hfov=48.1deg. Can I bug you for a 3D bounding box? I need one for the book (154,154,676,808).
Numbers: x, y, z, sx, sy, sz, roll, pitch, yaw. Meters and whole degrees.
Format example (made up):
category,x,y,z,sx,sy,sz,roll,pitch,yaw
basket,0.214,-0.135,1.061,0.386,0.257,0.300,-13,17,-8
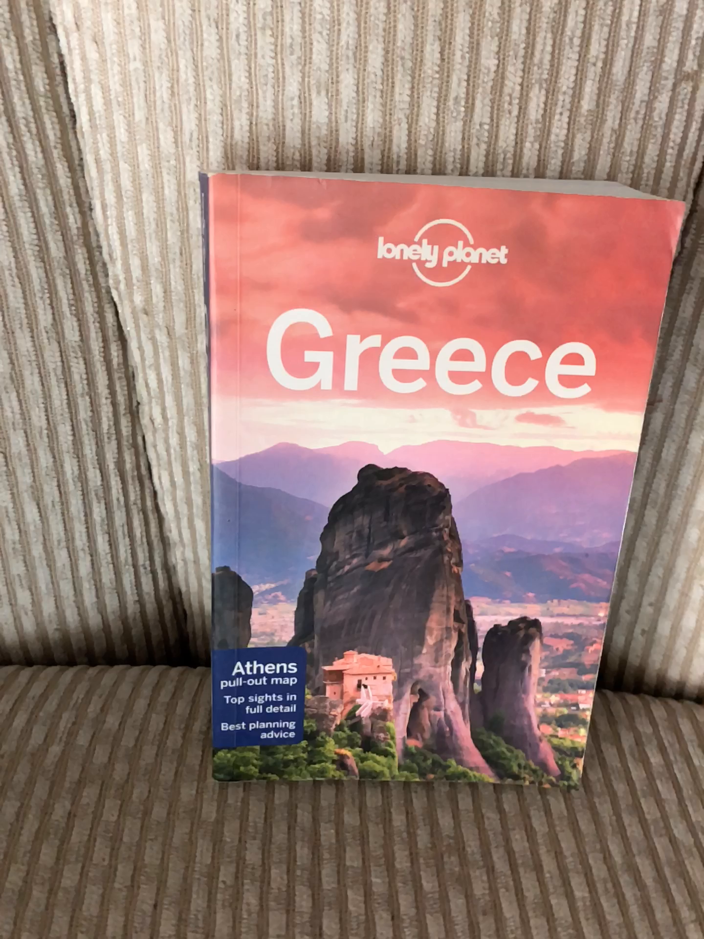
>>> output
category,x,y,z,sx,sy,sz,roll,pitch,yaw
book,0.012,0.011,0.252,0.132,0.201,0.041,2,19,-1
